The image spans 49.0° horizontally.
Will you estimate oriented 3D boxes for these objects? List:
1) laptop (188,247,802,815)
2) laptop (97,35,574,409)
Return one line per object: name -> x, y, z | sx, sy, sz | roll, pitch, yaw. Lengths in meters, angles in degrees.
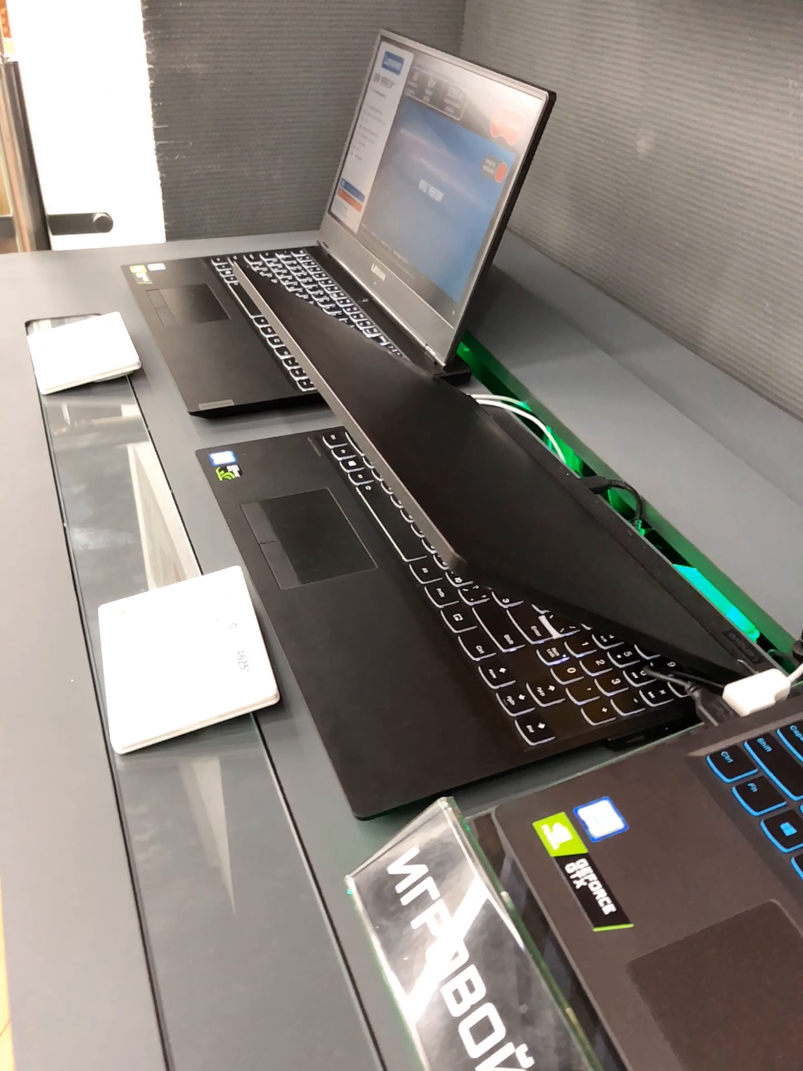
laptop -> 0.023, -0.045, 0.545 | 0.227, 0.136, 0.354 | -12, 38, -19
laptop -> -0.092, -0.326, 0.851 | 0.307, 0.231, 0.365 | -11, 38, -18
